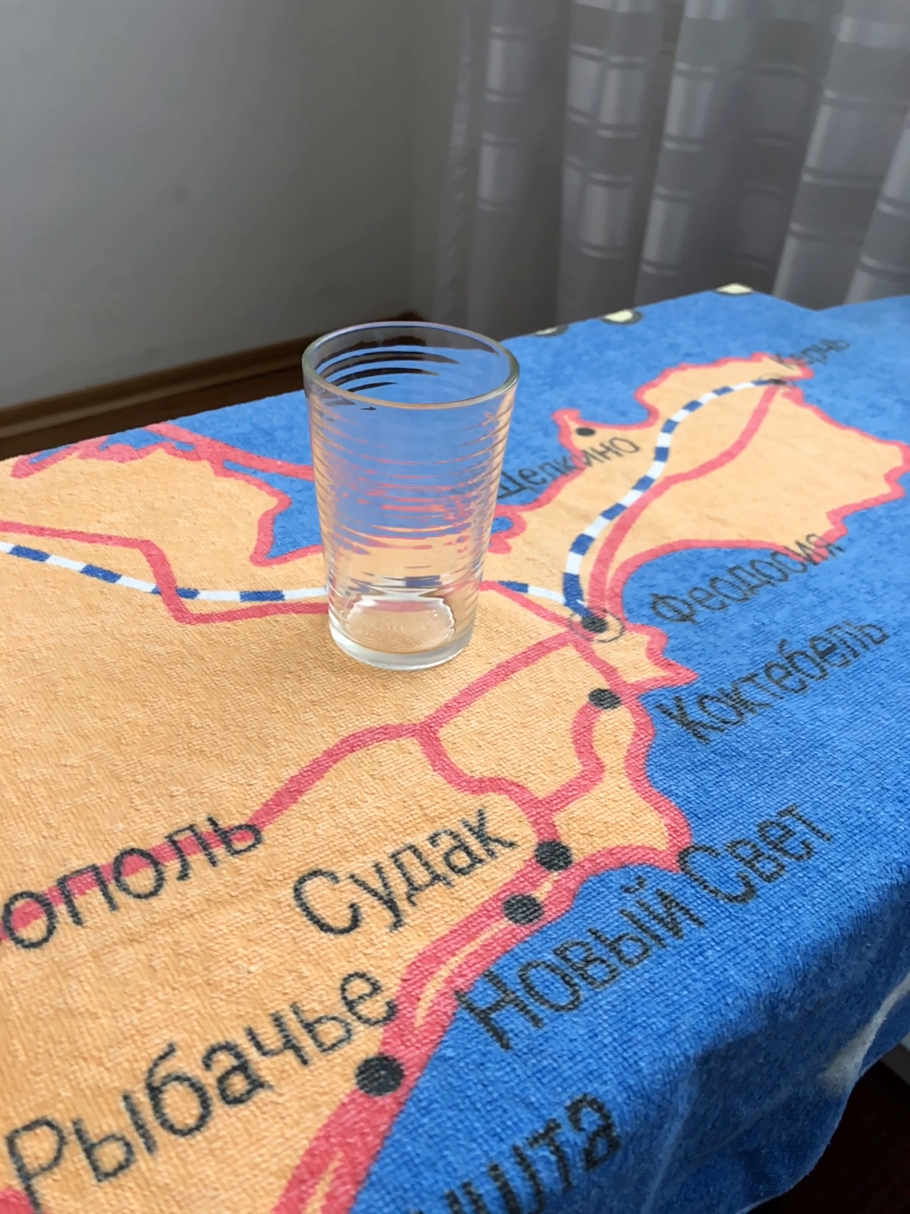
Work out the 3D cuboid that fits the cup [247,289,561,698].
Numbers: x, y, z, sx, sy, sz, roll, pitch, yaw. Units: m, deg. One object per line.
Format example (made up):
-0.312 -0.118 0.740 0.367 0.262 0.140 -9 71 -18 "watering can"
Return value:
-0.018 -0.039 0.332 0.068 0.099 0.070 2 36 -1 "cup"
